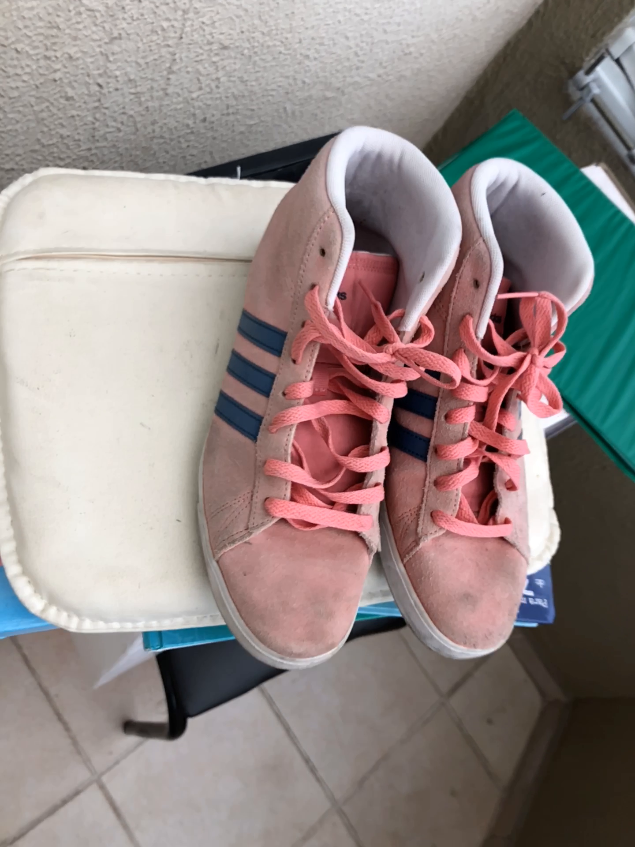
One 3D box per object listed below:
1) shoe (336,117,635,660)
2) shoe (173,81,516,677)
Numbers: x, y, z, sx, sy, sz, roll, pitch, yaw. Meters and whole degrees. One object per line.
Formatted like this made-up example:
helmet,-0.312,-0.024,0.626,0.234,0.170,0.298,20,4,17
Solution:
shoe,0.095,-0.011,0.384,0.100,0.129,0.250,4,67,-24
shoe,0.005,-0.013,0.350,0.100,0.129,0.251,11,65,-21
